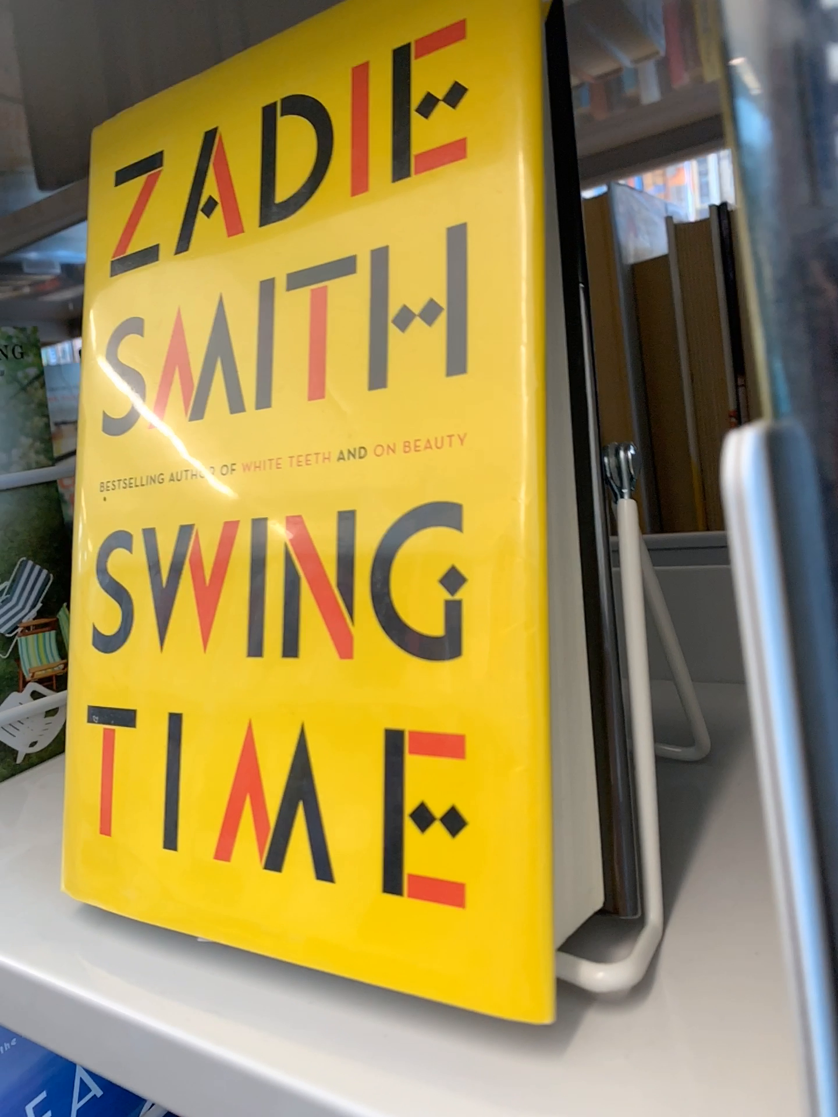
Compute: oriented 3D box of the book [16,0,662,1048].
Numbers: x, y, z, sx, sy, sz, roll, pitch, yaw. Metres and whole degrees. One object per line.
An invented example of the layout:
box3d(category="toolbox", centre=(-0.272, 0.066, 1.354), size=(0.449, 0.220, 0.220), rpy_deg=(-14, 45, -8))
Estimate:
box3d(category="book", centre=(-0.027, -0.021, 0.241), size=(0.168, 0.233, 0.060), rpy_deg=(-3, -7, 33))
